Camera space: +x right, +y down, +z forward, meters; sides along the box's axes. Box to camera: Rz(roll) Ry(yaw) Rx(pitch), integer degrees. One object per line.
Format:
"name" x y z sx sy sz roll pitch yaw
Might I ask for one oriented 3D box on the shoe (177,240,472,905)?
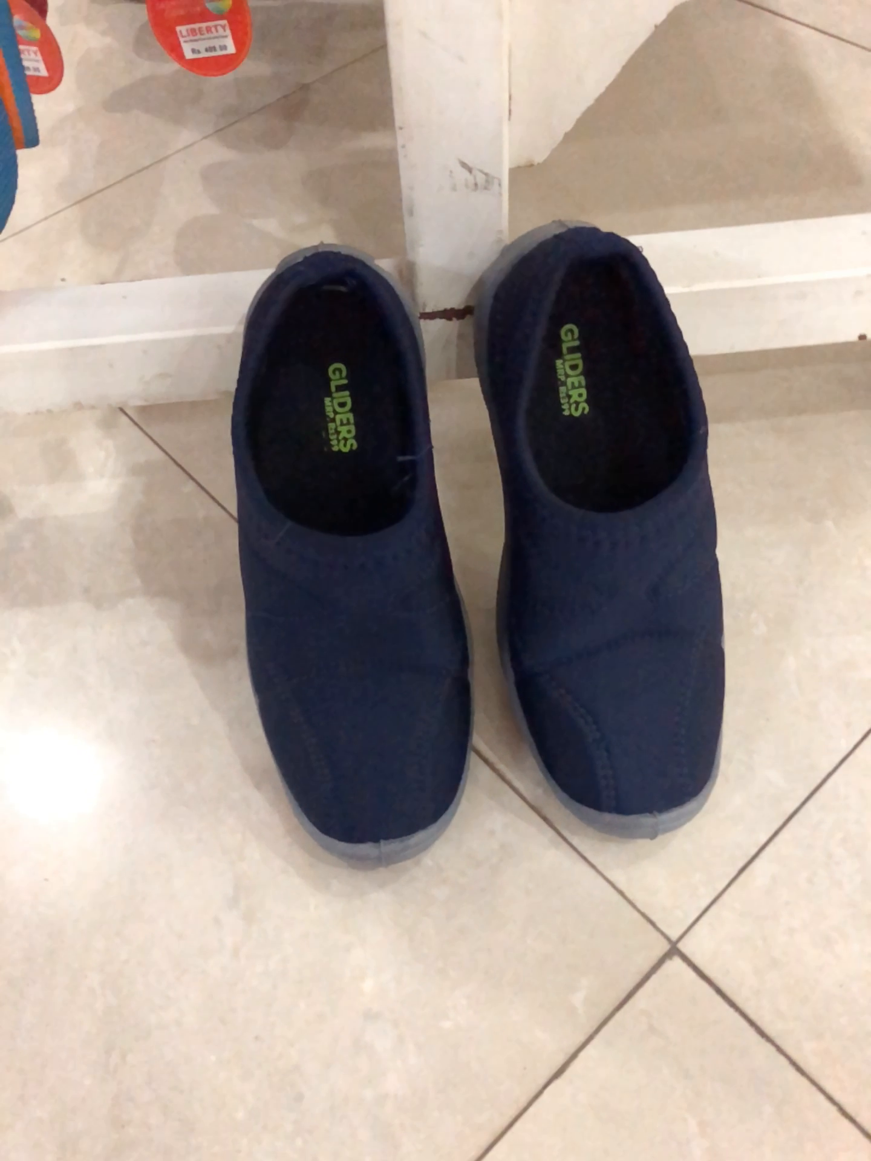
"shoe" -0.088 -0.005 0.783 0.160 0.200 0.460 -6 83 -5

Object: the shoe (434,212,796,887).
"shoe" 0.128 -0.022 0.823 0.186 0.207 0.489 -8 81 -1
